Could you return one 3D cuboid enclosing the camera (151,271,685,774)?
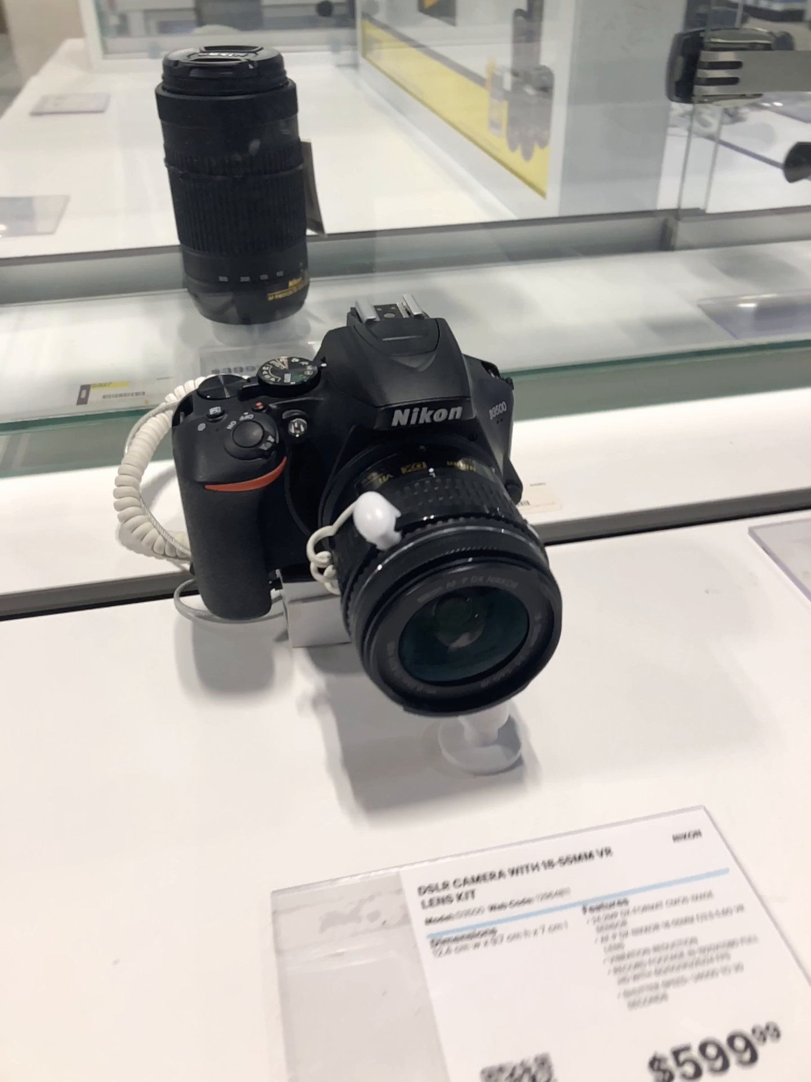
[{"bbox_3d":[-0.007,-0.017,0.295,0.131,0.089,0.131,-9,36,-11],"label":"camera"}]
